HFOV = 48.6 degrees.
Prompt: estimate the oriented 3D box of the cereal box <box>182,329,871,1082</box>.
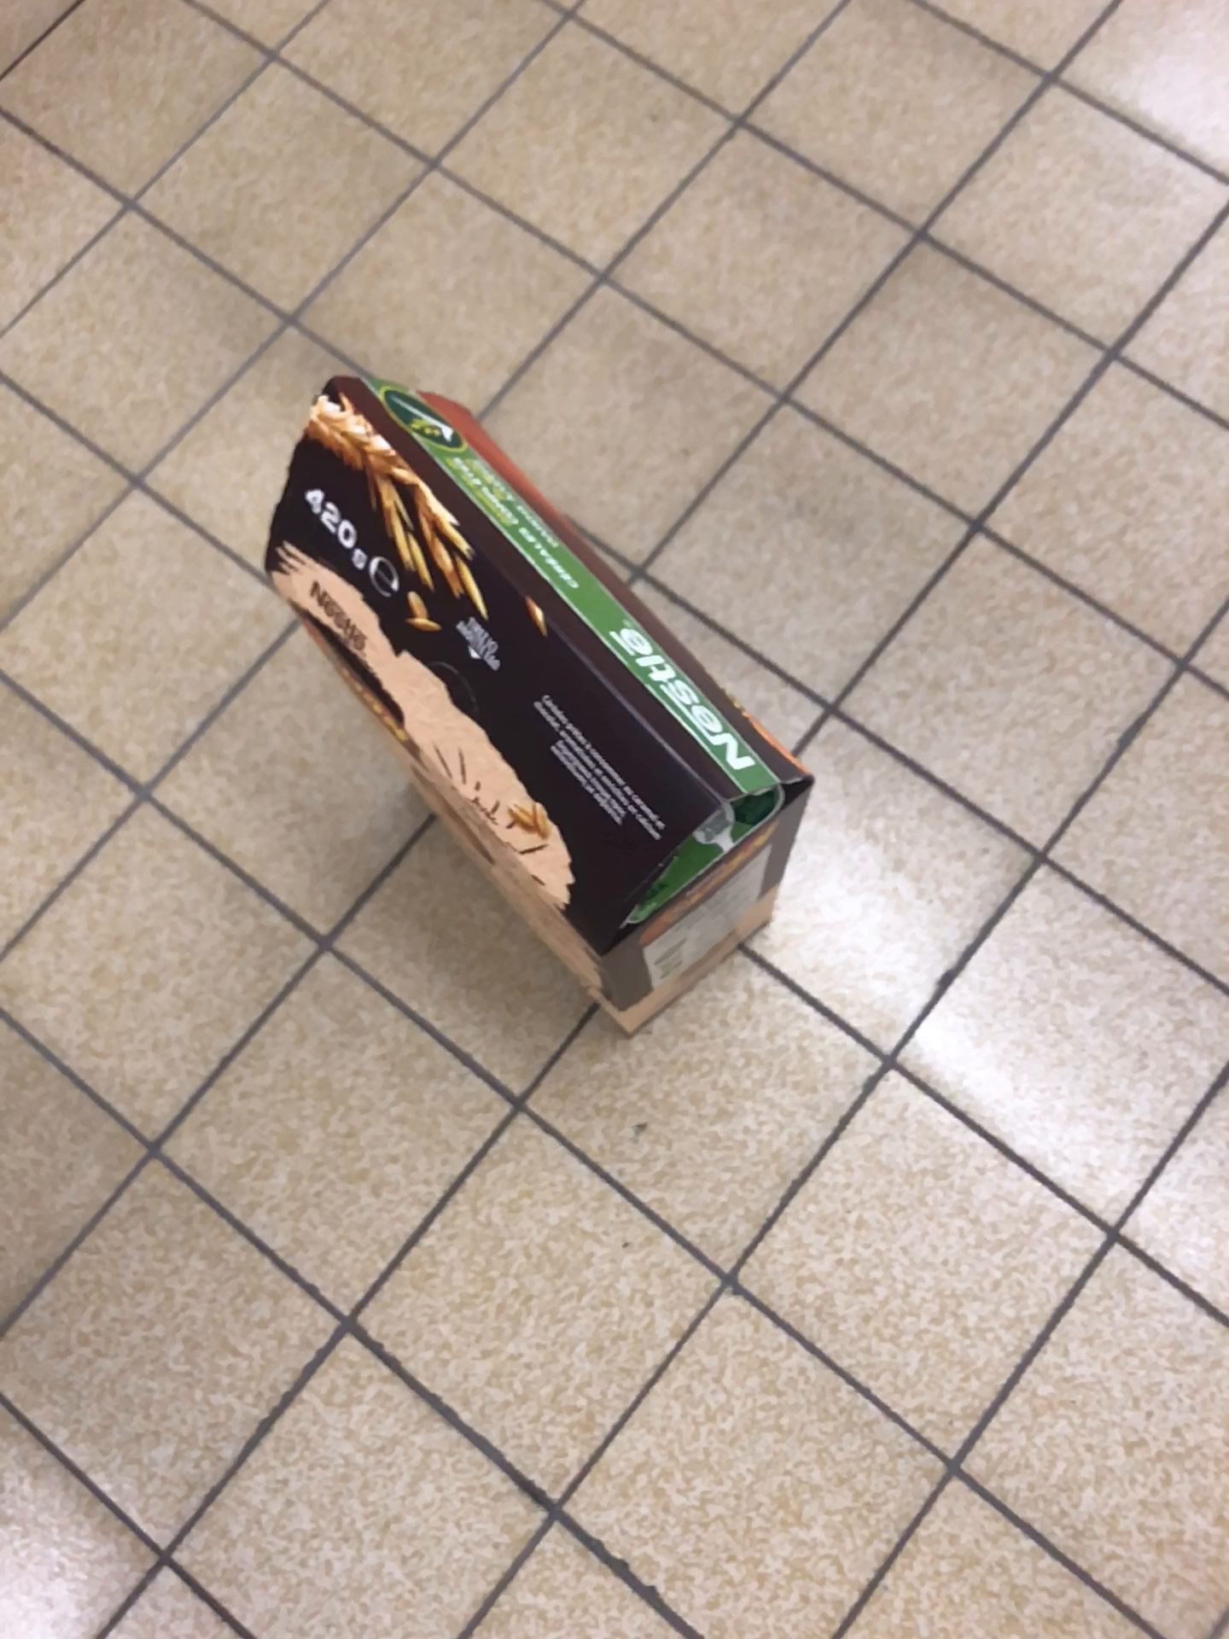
[{"bbox_3d":[-0.016,-0.009,0.430,0.080,0.250,0.150,-40,77,-7],"label":"cereal box"}]
